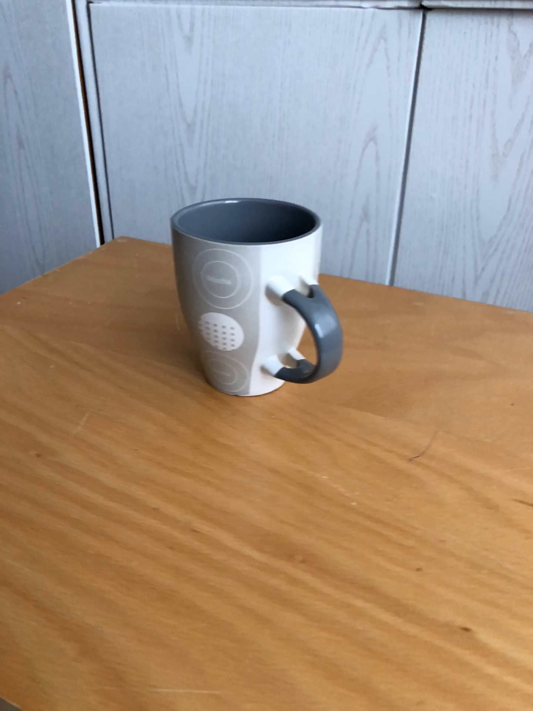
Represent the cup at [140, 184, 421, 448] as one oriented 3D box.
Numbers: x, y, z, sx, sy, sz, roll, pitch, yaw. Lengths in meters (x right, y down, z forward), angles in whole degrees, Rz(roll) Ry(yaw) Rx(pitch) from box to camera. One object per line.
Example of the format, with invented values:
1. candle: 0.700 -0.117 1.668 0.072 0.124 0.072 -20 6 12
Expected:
1. cup: 0.004 -0.032 0.334 0.085 0.093 0.127 -24 38 -37
